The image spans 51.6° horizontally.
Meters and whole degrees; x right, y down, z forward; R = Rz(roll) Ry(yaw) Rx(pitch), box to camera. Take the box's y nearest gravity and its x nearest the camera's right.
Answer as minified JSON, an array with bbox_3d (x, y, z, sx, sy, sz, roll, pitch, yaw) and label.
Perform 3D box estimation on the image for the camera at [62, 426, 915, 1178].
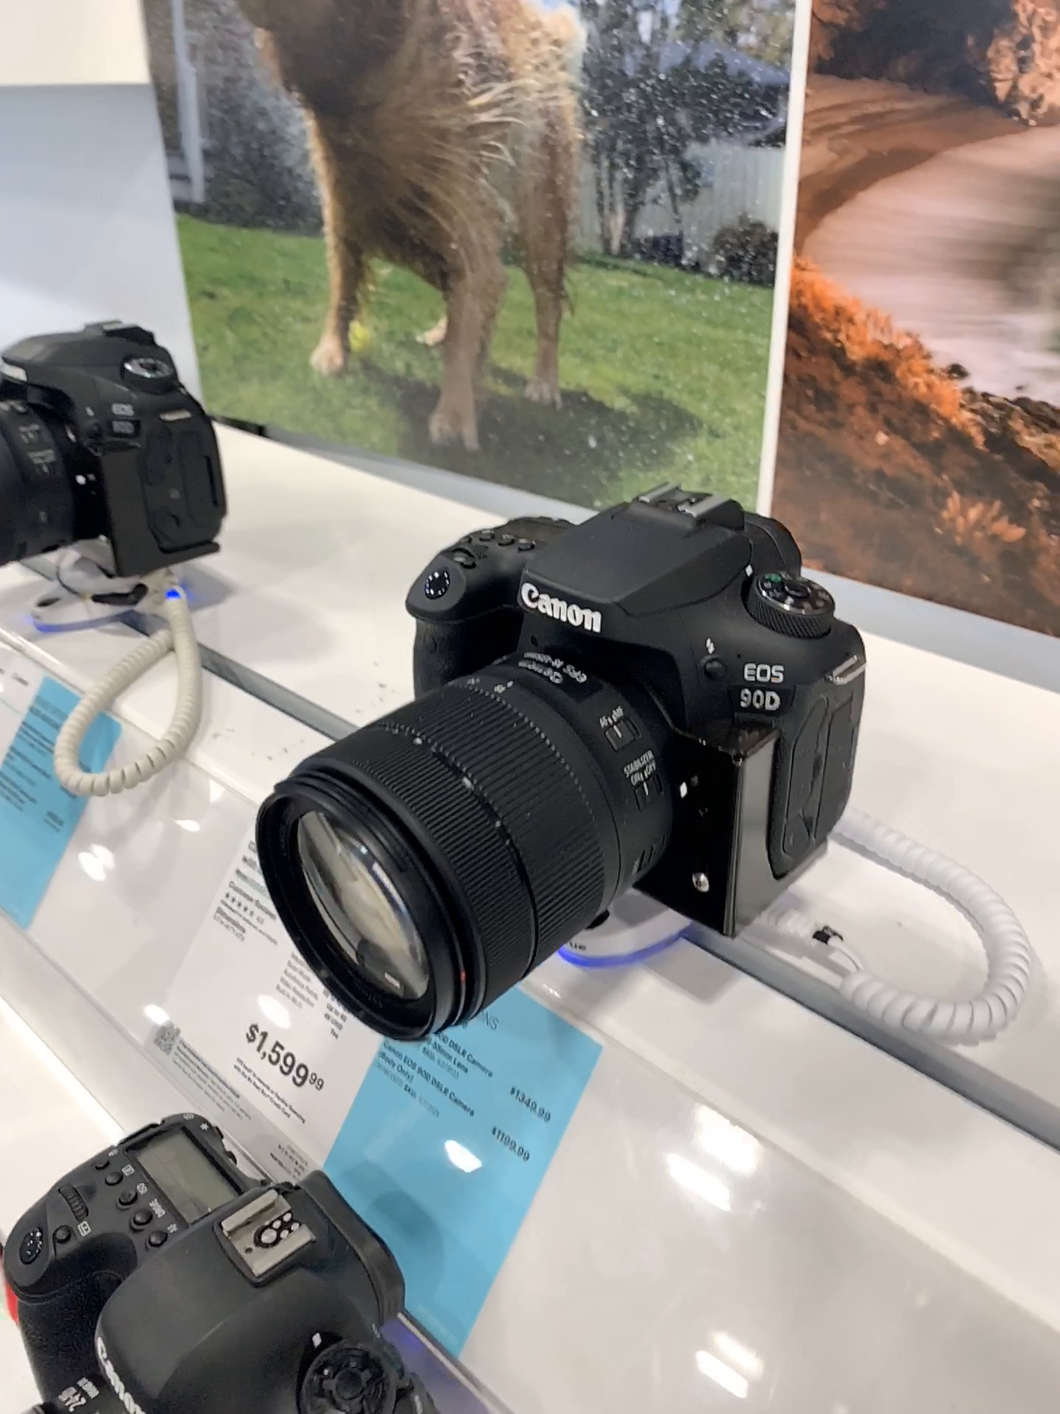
[{"bbox_3d":[-0.006,0.002,0.314,0.148,0.104,0.170,24,38,38],"label":"camera"}]
